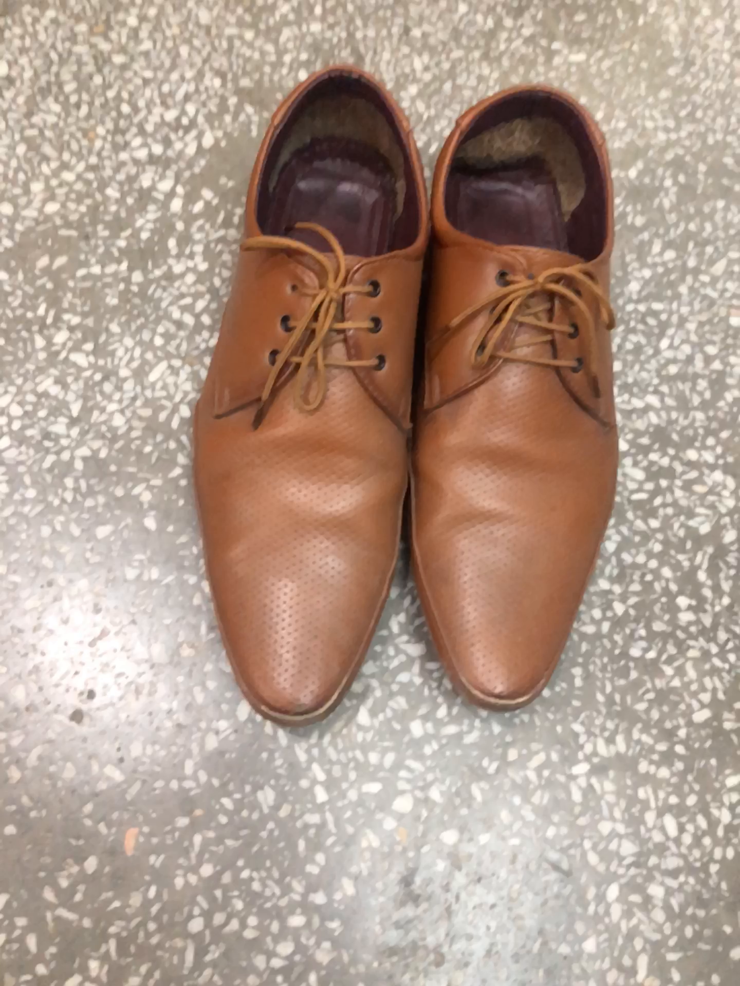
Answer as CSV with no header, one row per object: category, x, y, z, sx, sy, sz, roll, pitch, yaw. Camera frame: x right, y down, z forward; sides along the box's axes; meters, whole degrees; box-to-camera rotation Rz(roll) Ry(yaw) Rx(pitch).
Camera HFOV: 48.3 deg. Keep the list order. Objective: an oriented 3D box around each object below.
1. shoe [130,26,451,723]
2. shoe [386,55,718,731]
shoe,-0.028,-0.046,0.377,0.105,0.118,0.285,4,73,-5
shoe,0.071,-0.039,0.387,0.105,0.118,0.285,4,73,-5
